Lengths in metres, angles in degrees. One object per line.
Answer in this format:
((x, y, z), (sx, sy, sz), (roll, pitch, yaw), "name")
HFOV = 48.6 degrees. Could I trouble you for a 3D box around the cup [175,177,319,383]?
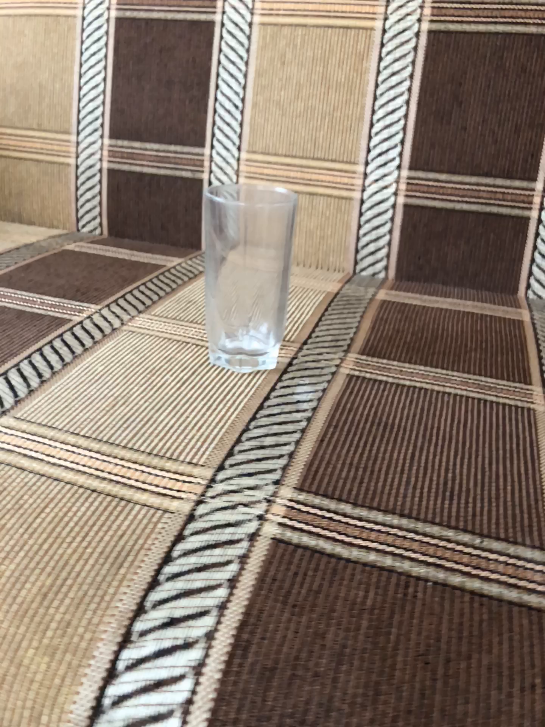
((-0.021, -0.068, 0.467), (0.077, 0.130, 0.076), (3, 25, -2), "cup")
